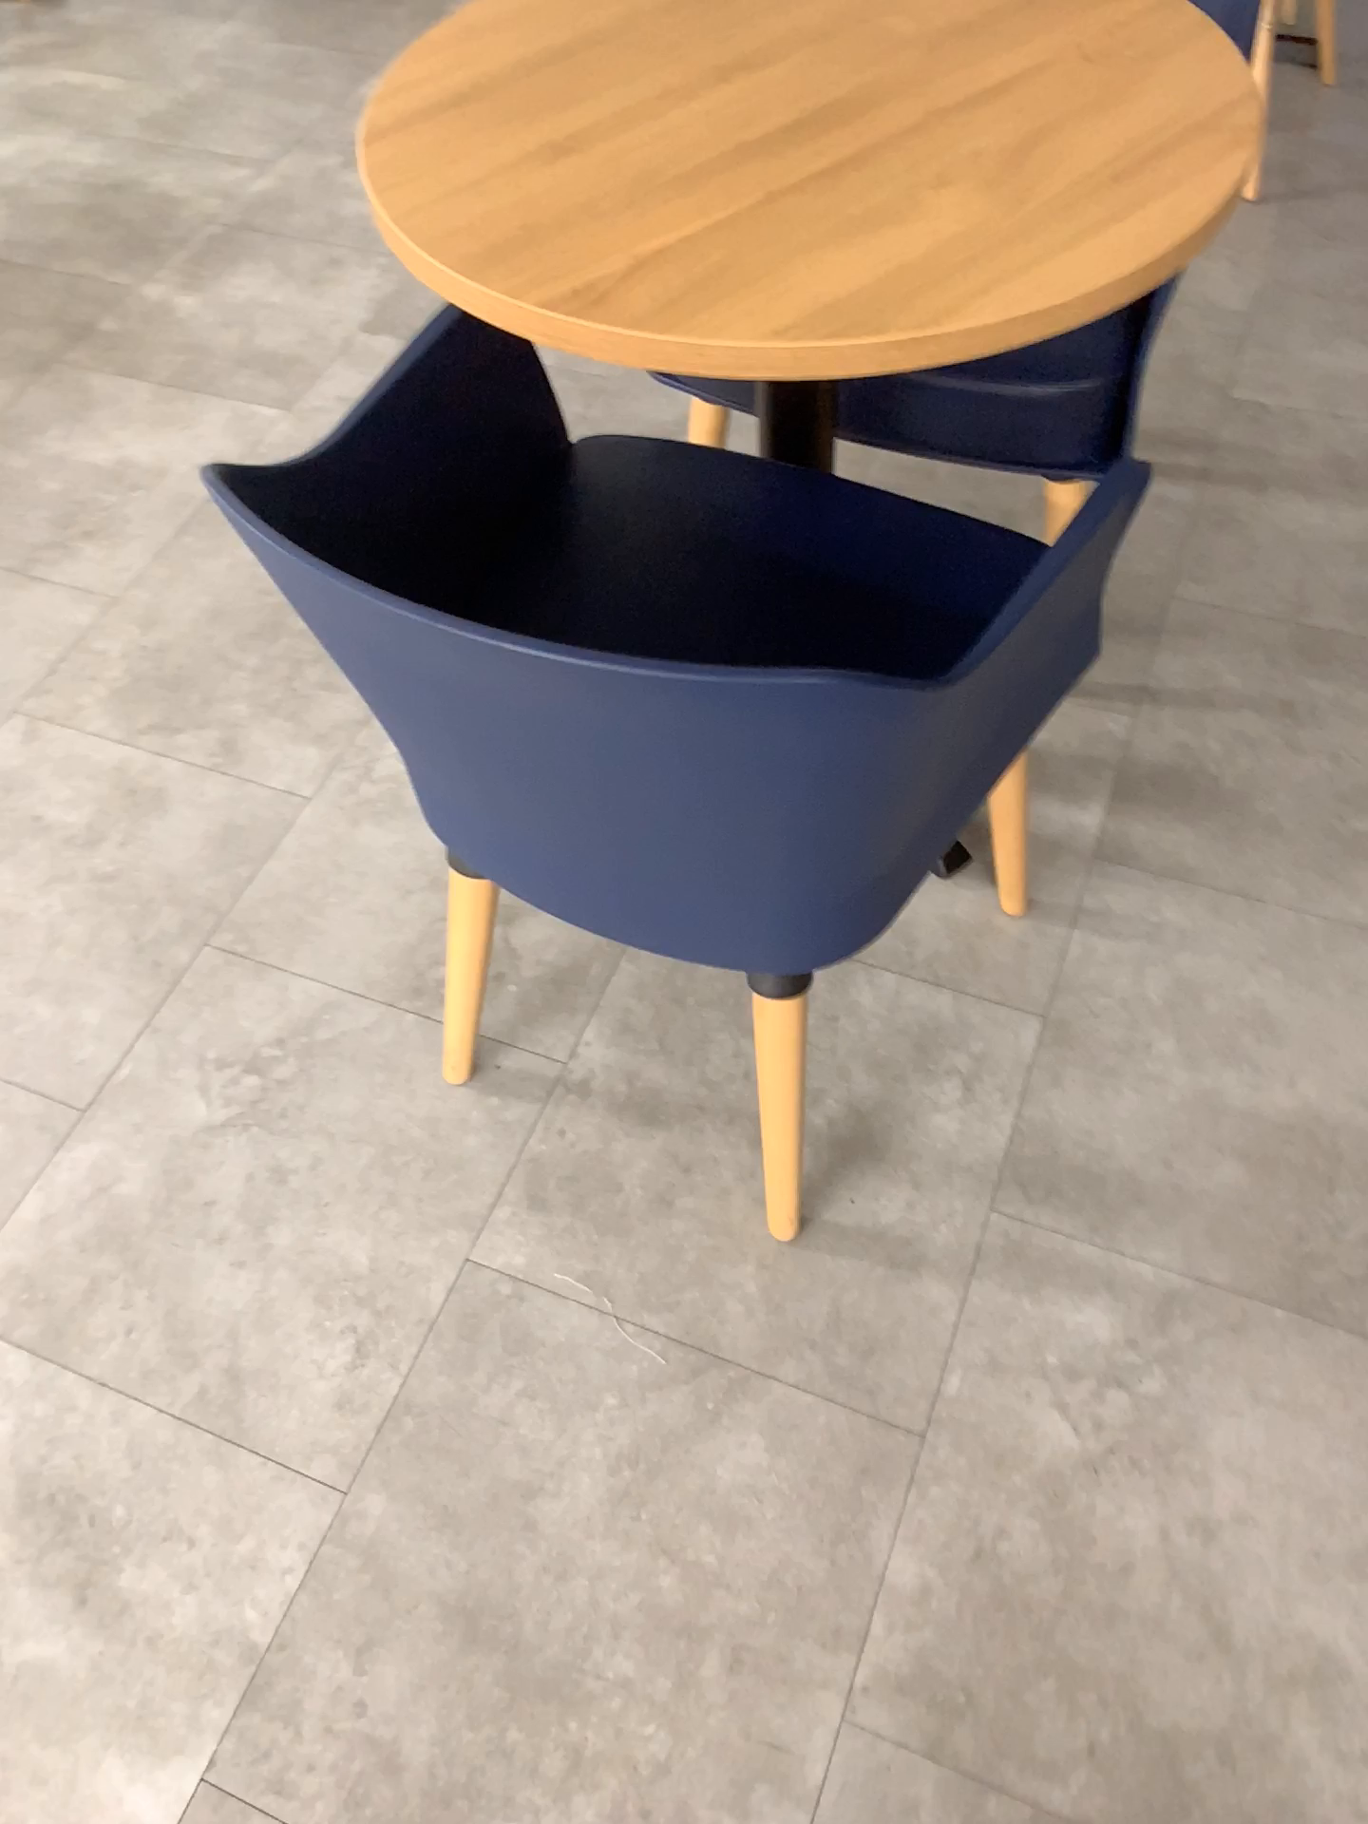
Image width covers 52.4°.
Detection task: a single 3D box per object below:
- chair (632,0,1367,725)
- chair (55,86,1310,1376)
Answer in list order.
[{"bbox_3d":[0.347,-0.722,1.527,0.563,0.736,0.560,17,57,16],"label":"chair"},{"bbox_3d":[0.039,-0.118,1.137,0.563,0.736,0.549,23,59,20],"label":"chair"}]
